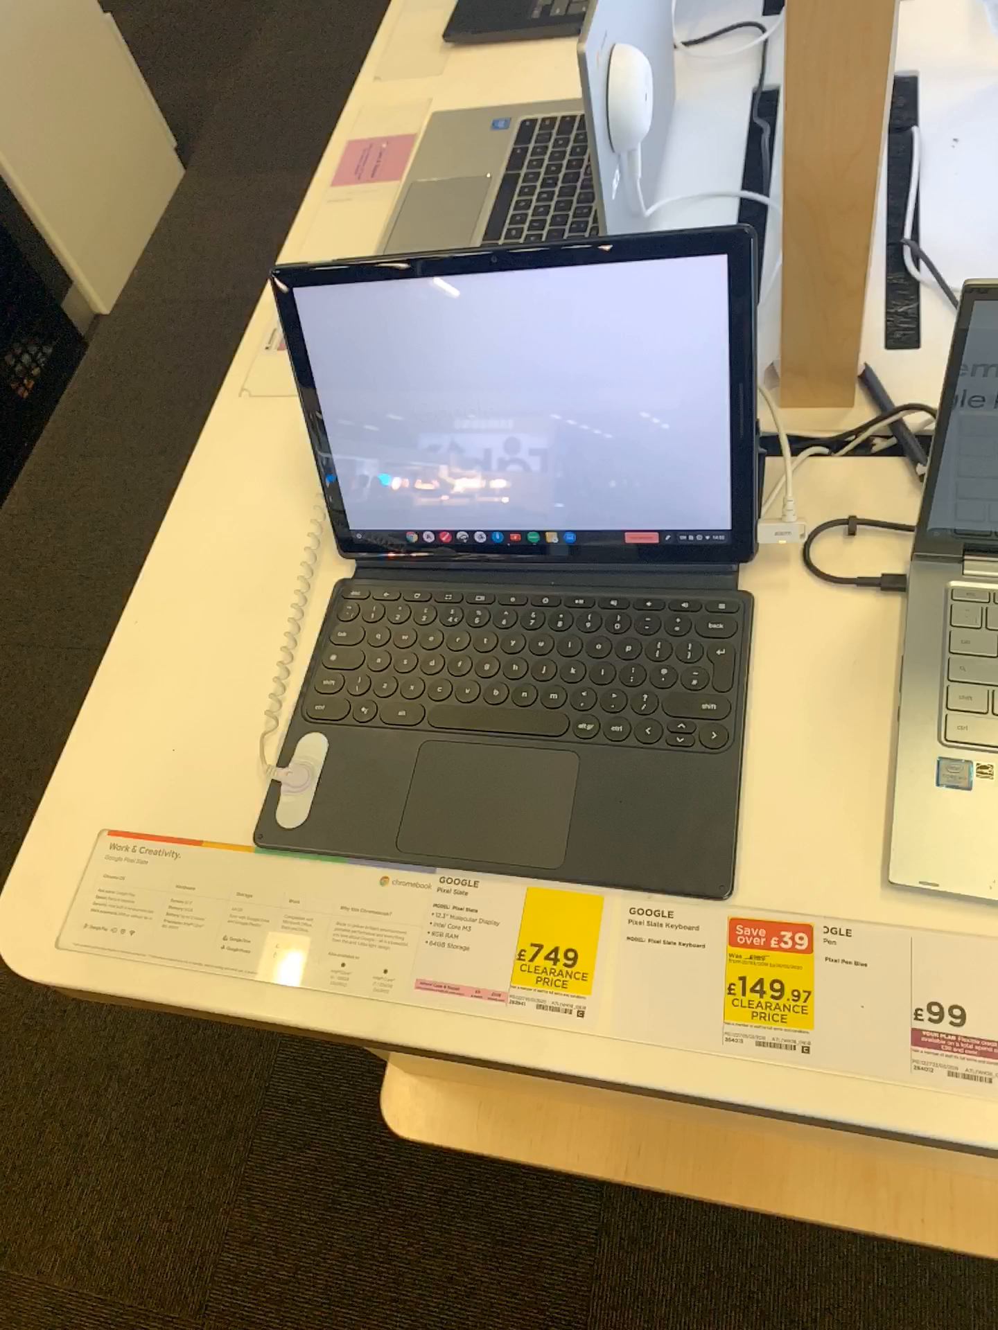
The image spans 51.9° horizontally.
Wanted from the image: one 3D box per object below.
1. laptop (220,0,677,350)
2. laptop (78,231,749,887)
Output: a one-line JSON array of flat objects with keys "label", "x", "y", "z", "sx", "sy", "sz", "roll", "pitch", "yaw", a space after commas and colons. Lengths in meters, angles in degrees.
[{"label": "laptop", "x": -0.009, "y": -0.448, "z": 0.789, "sx": 0.233, "sy": 0.222, "sz": 0.320, "roll": 4, "pitch": 61, "yaw": 16}, {"label": "laptop", "x": -0.013, "y": -0.060, "z": 0.587, "sx": 0.285, "sy": 0.188, "sz": 0.294, "roll": 2, "pitch": 60, "yaw": 16}]
